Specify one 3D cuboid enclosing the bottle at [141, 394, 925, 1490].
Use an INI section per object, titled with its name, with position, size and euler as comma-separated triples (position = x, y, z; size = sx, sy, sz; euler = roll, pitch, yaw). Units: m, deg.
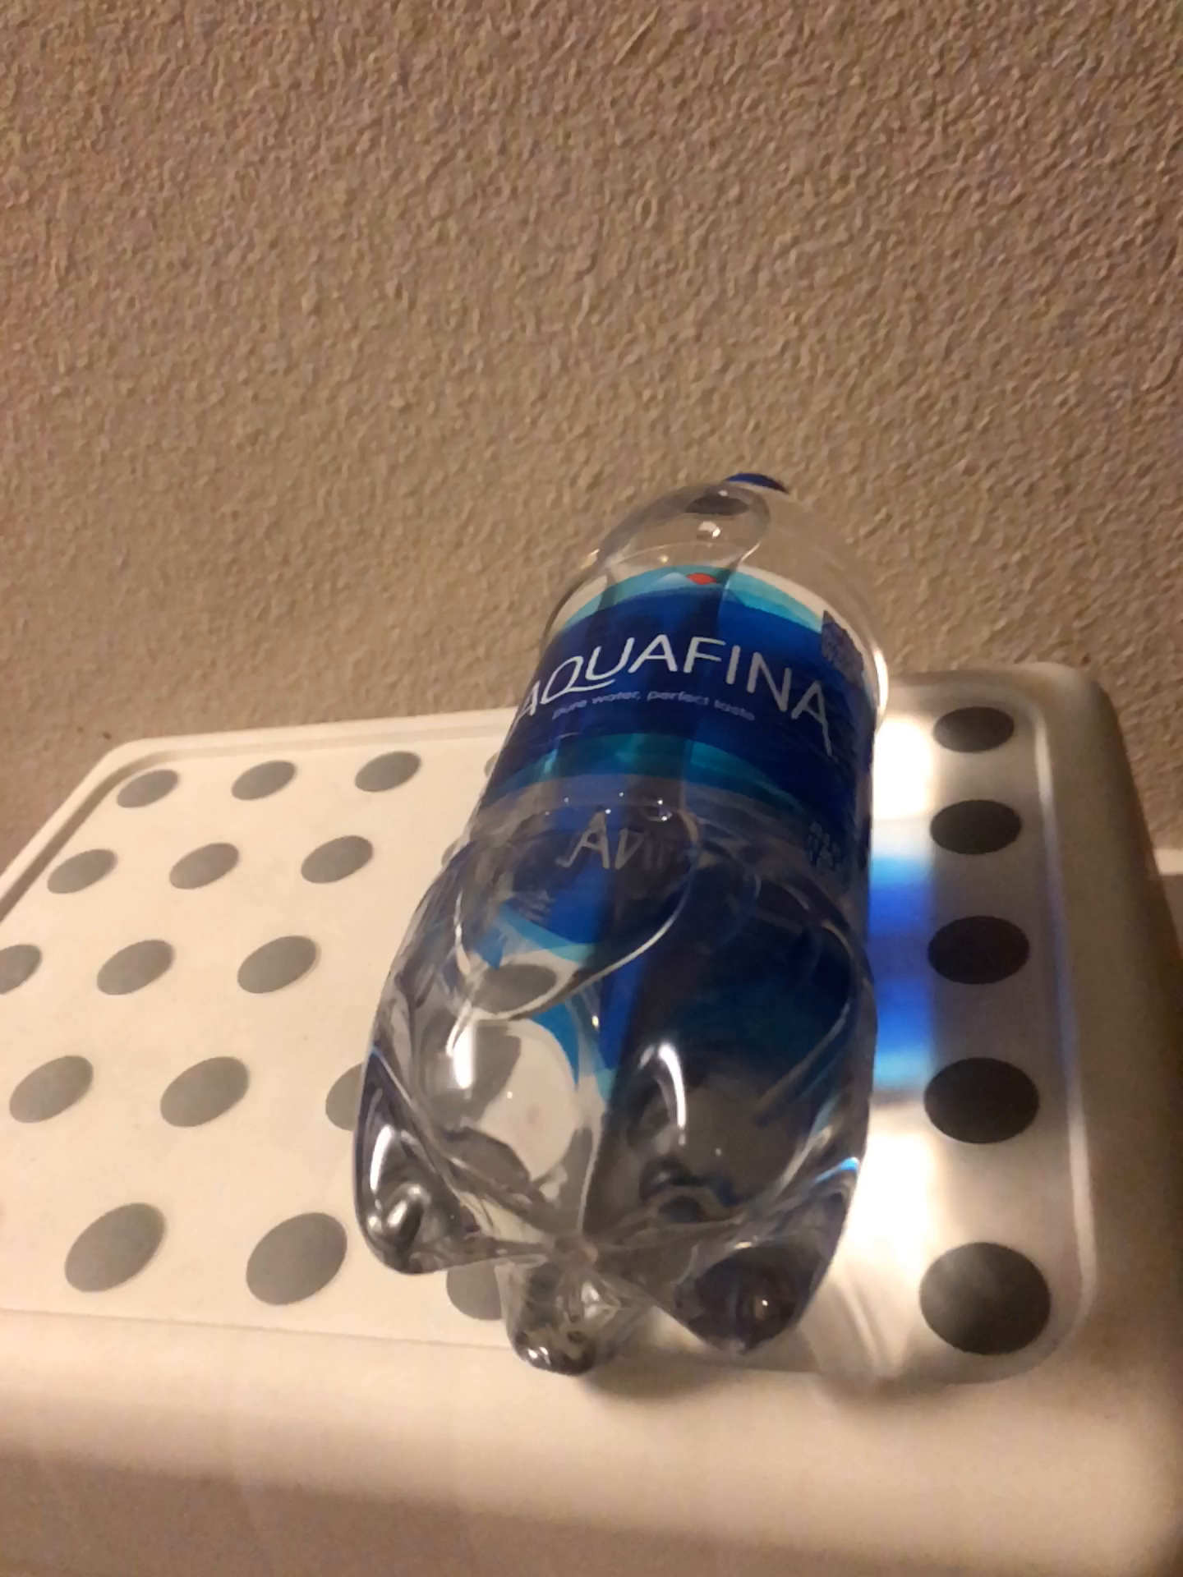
[bottle]
position = 0.018, 0.002, 0.288
size = 0.090, 0.080, 0.251
euler = -3, 34, 19
